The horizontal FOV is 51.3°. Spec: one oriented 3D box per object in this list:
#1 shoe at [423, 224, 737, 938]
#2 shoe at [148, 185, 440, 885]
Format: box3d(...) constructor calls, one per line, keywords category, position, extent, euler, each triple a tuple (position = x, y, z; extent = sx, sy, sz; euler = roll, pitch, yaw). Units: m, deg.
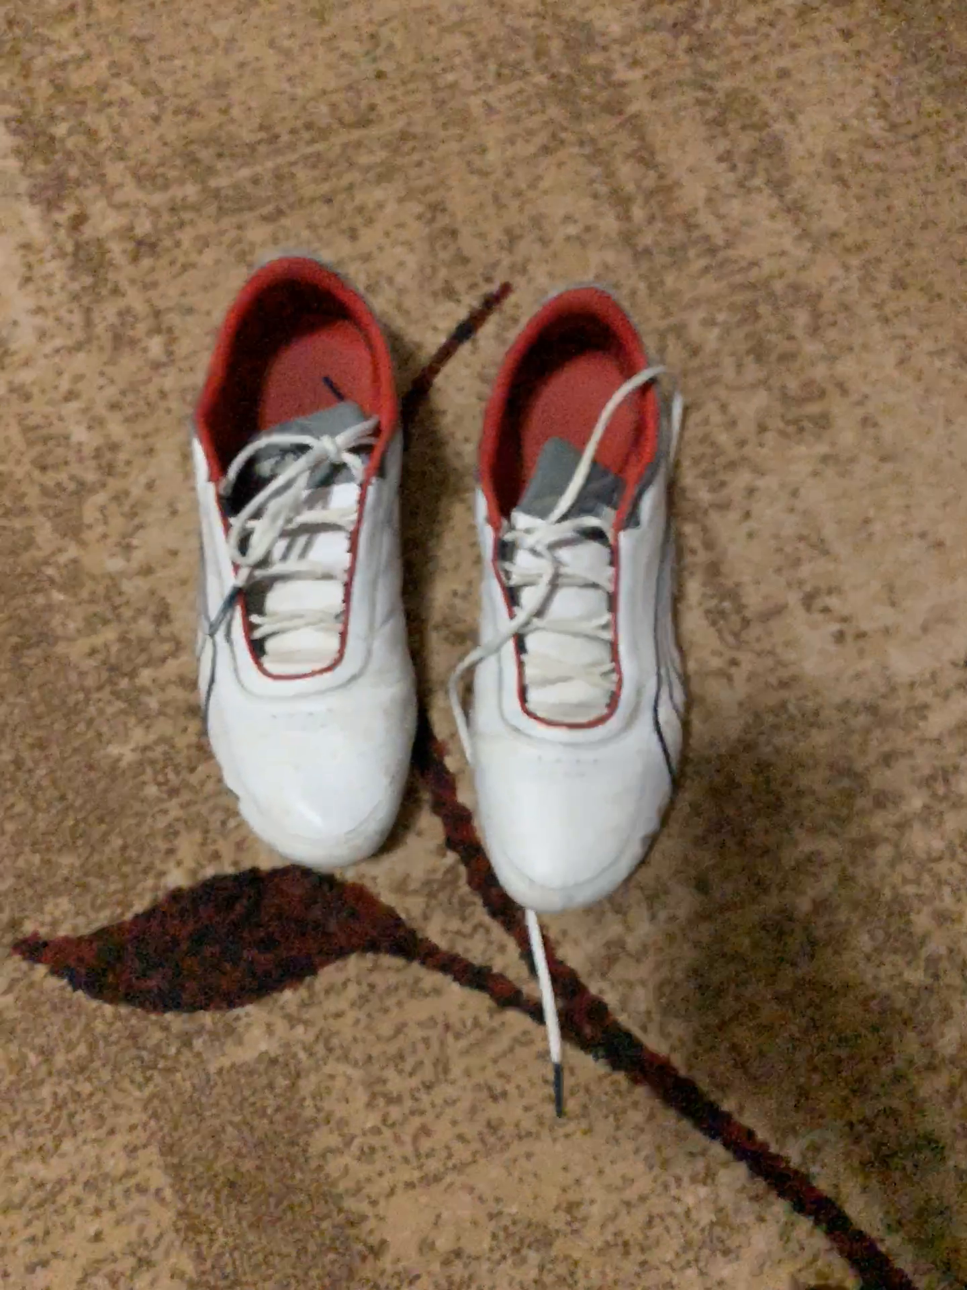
box3d(category="shoe", position=(0.042, -0.029, 0.428), extent=(0.103, 0.070, 0.281), euler=(5, 77, 0))
box3d(category="shoe", position=(-0.080, -0.047, 0.430), extent=(0.099, 0.070, 0.281), euler=(-5, 77, -2))
